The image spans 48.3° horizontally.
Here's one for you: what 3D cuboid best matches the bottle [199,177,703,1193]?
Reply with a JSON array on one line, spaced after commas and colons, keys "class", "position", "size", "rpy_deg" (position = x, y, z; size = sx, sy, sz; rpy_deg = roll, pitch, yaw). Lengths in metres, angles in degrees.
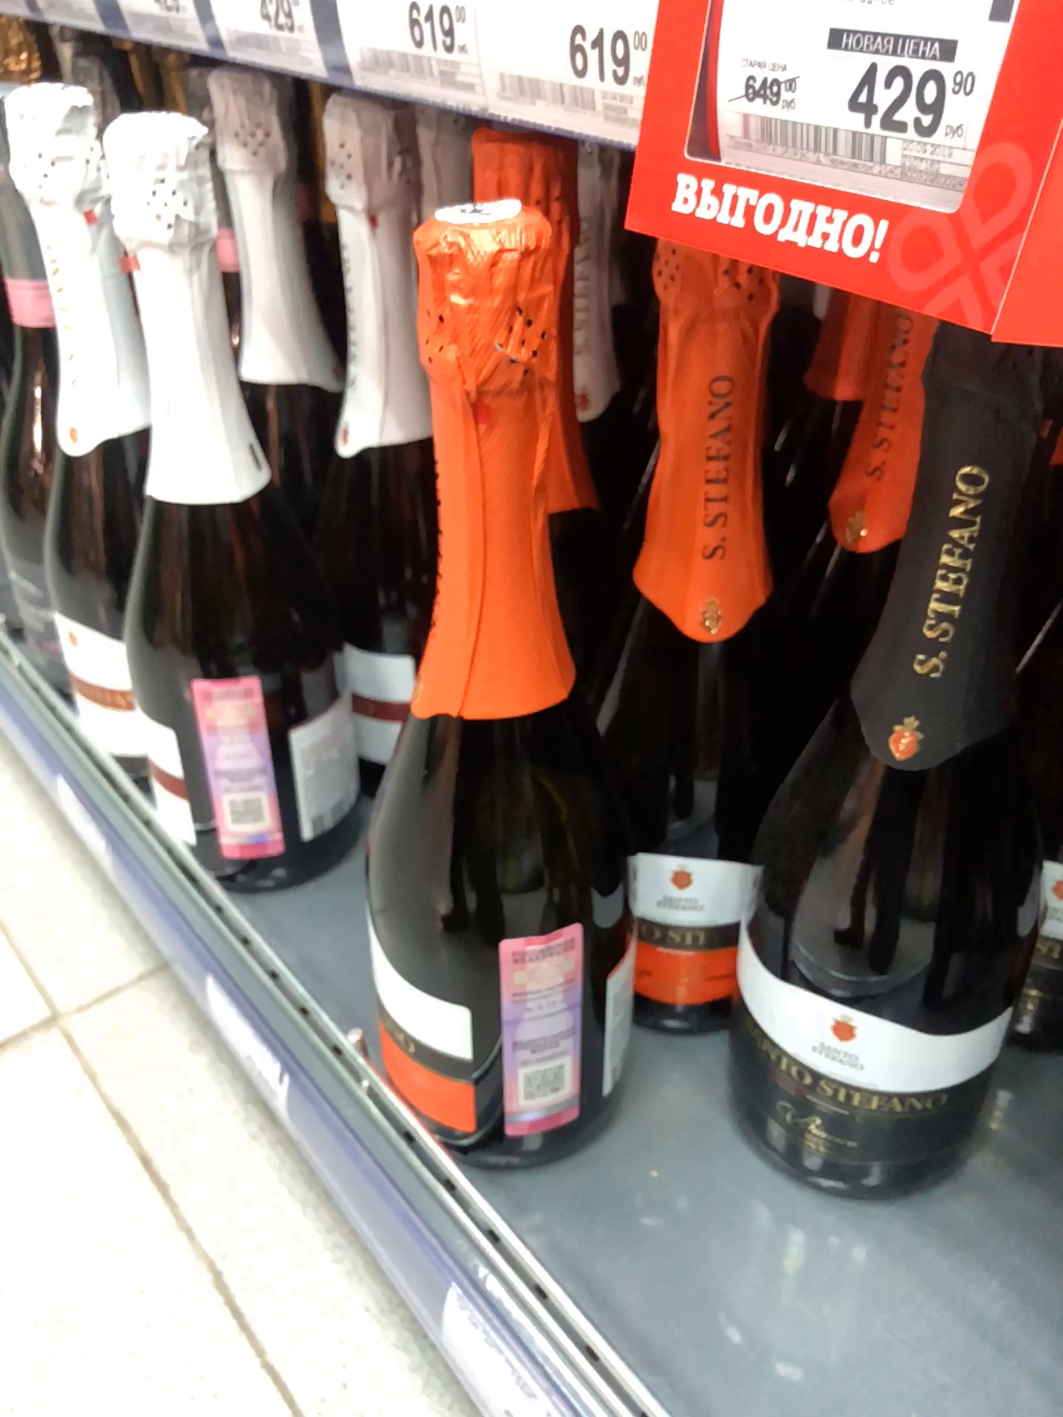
[{"class": "bottle", "position": [-0.014, 0.011, 0.360], "size": [0.100, 0.298, 0.101], "rpy_deg": [-1, 34, 1]}]
